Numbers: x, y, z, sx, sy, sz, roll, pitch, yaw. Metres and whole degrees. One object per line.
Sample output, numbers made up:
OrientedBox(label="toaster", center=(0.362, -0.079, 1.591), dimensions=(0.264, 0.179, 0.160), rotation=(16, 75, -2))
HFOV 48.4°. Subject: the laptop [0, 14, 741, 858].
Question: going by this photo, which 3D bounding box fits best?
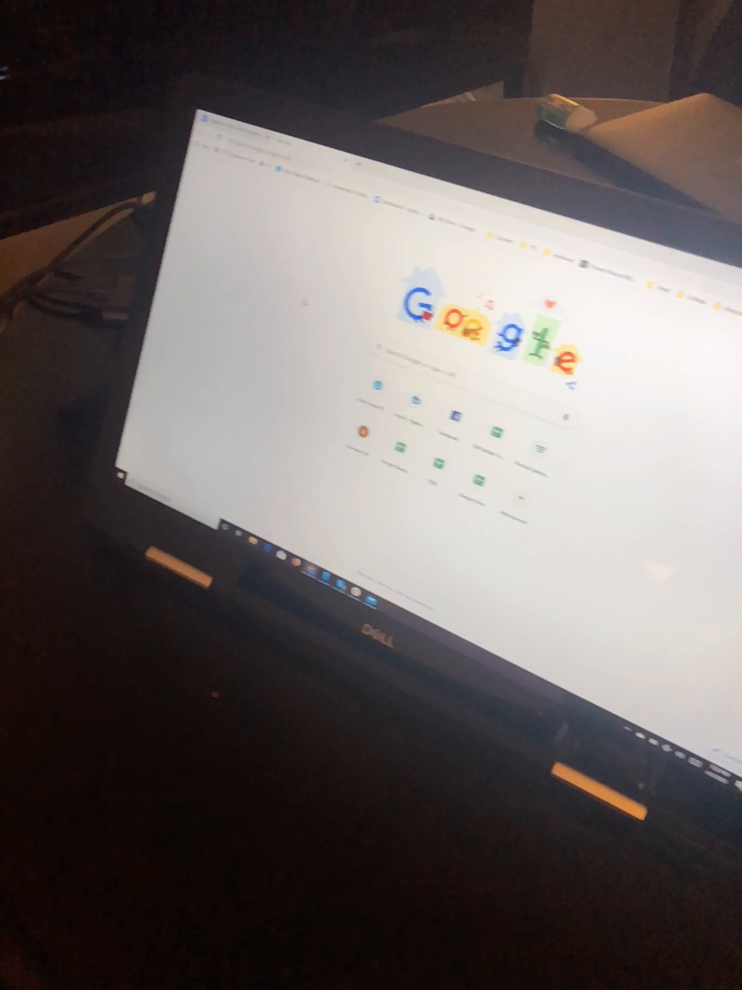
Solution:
OrientedBox(label="laptop", center=(0.073, -0.066, 0.459), dimensions=(0.419, 0.232, 0.268), rotation=(24, 51, 20))
